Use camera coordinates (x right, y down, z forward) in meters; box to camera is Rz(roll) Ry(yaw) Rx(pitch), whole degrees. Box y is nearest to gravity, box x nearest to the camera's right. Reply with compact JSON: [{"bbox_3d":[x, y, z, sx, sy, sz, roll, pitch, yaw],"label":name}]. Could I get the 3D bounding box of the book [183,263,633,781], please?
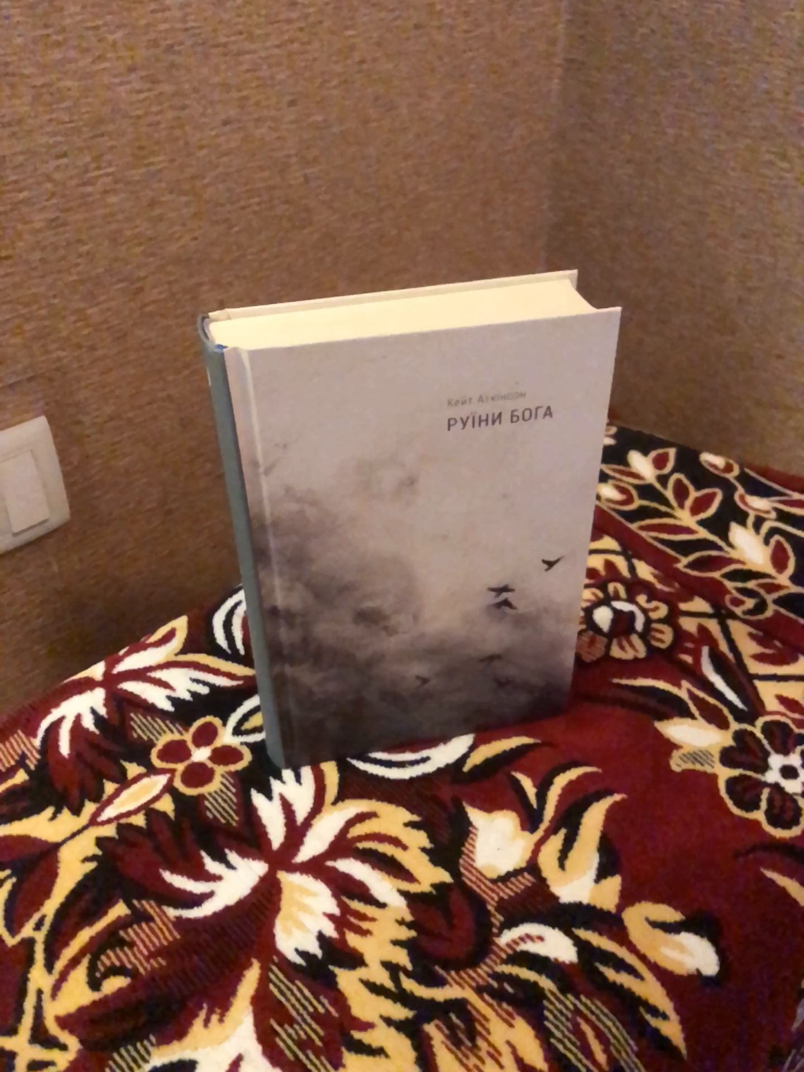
[{"bbox_3d":[0.001,0.002,0.360,0.145,0.200,0.048,-9,38,-11],"label":"book"}]
